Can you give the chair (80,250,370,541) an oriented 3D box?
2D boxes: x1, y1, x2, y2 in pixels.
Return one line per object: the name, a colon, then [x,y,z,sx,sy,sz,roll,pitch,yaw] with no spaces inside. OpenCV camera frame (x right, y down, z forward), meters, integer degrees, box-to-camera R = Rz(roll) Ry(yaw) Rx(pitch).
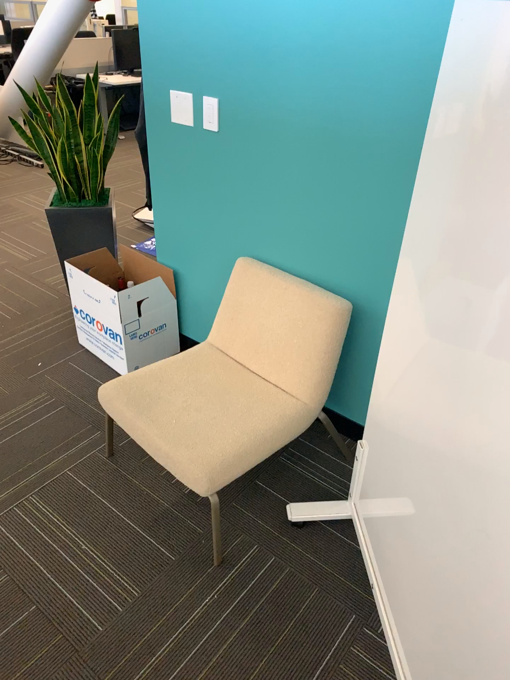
chair: [-0.101,0.131,1.918,0.662,0.567,0.731,29,42,35]
